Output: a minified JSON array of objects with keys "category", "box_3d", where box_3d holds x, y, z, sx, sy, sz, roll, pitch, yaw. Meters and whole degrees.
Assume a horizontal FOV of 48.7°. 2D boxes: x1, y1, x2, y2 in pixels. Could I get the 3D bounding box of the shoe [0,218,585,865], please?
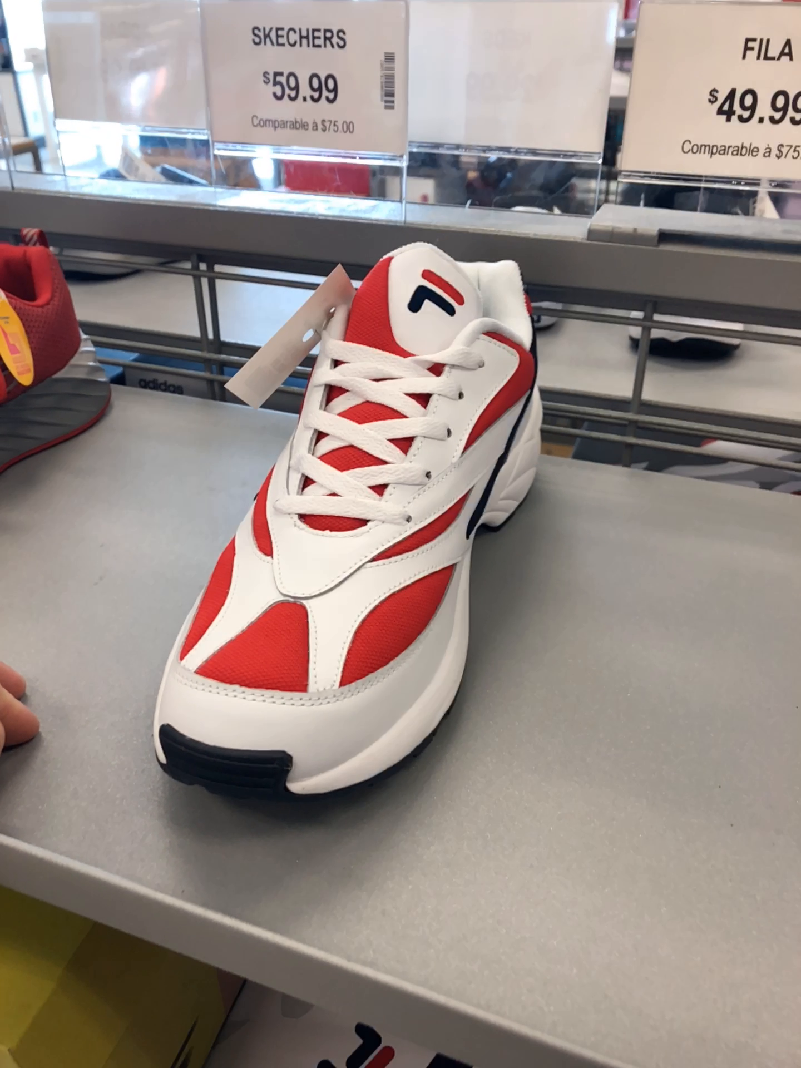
[{"category":"shoe","box_3d":[-0.014,-0.030,0.370,0.120,0.129,0.272,11,34,17]}]
